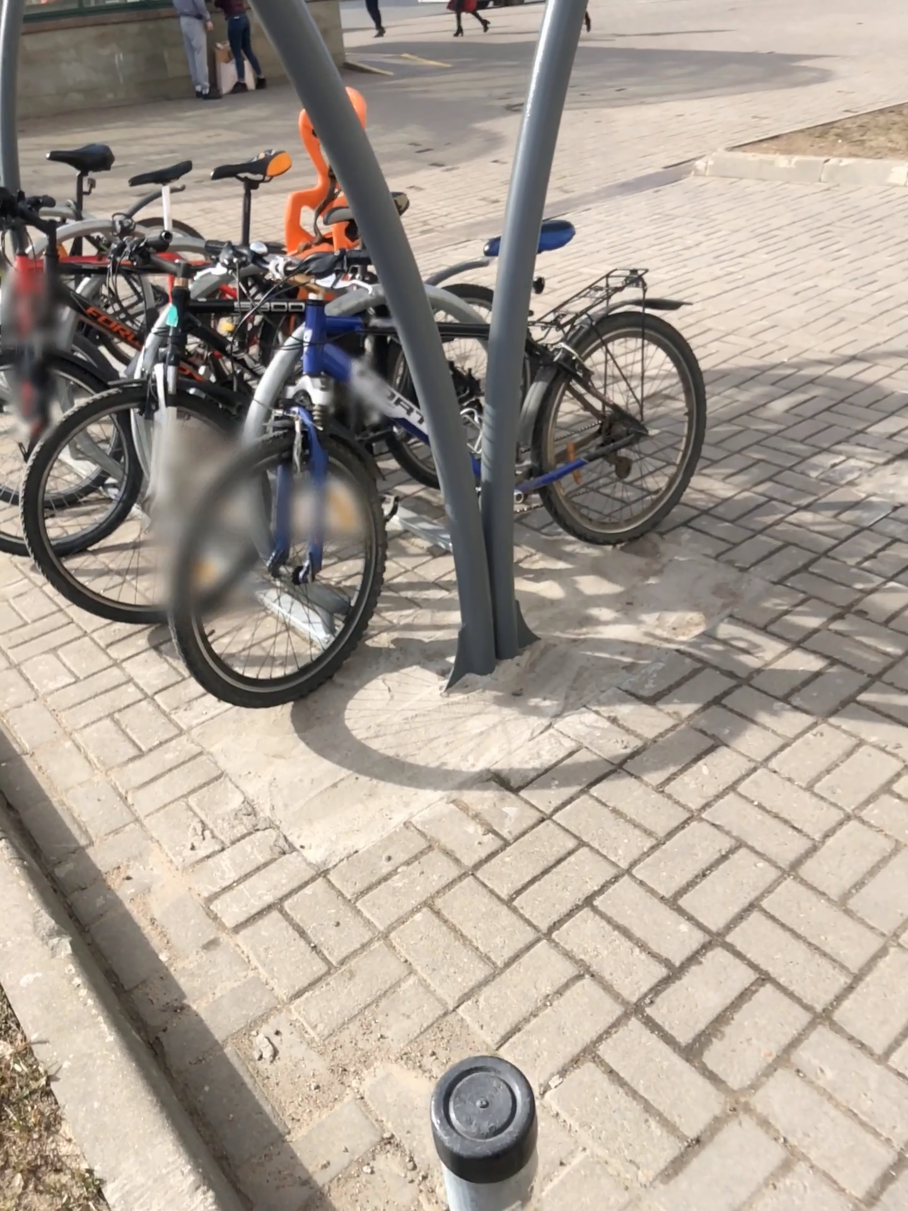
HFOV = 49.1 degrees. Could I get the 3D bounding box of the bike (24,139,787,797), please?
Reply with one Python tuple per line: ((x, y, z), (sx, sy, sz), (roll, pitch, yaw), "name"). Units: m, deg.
((0.016, -0.466, 2.395), (1.662, 0.959, 0.629), (-26, 38, -31), "bike")
